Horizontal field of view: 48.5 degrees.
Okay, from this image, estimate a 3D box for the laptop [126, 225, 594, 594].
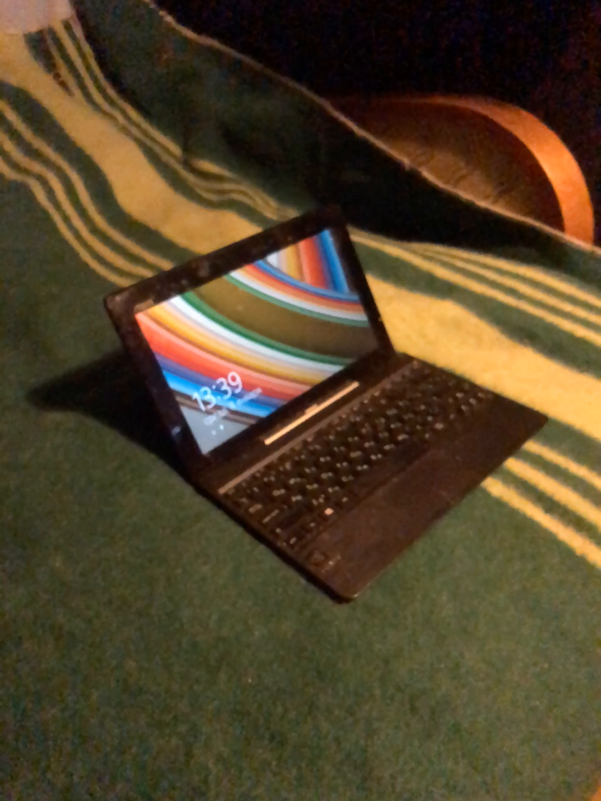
[{"bbox_3d":[0.040,-0.022,0.557,0.257,0.116,0.257,-32,47,-33],"label":"laptop"}]
